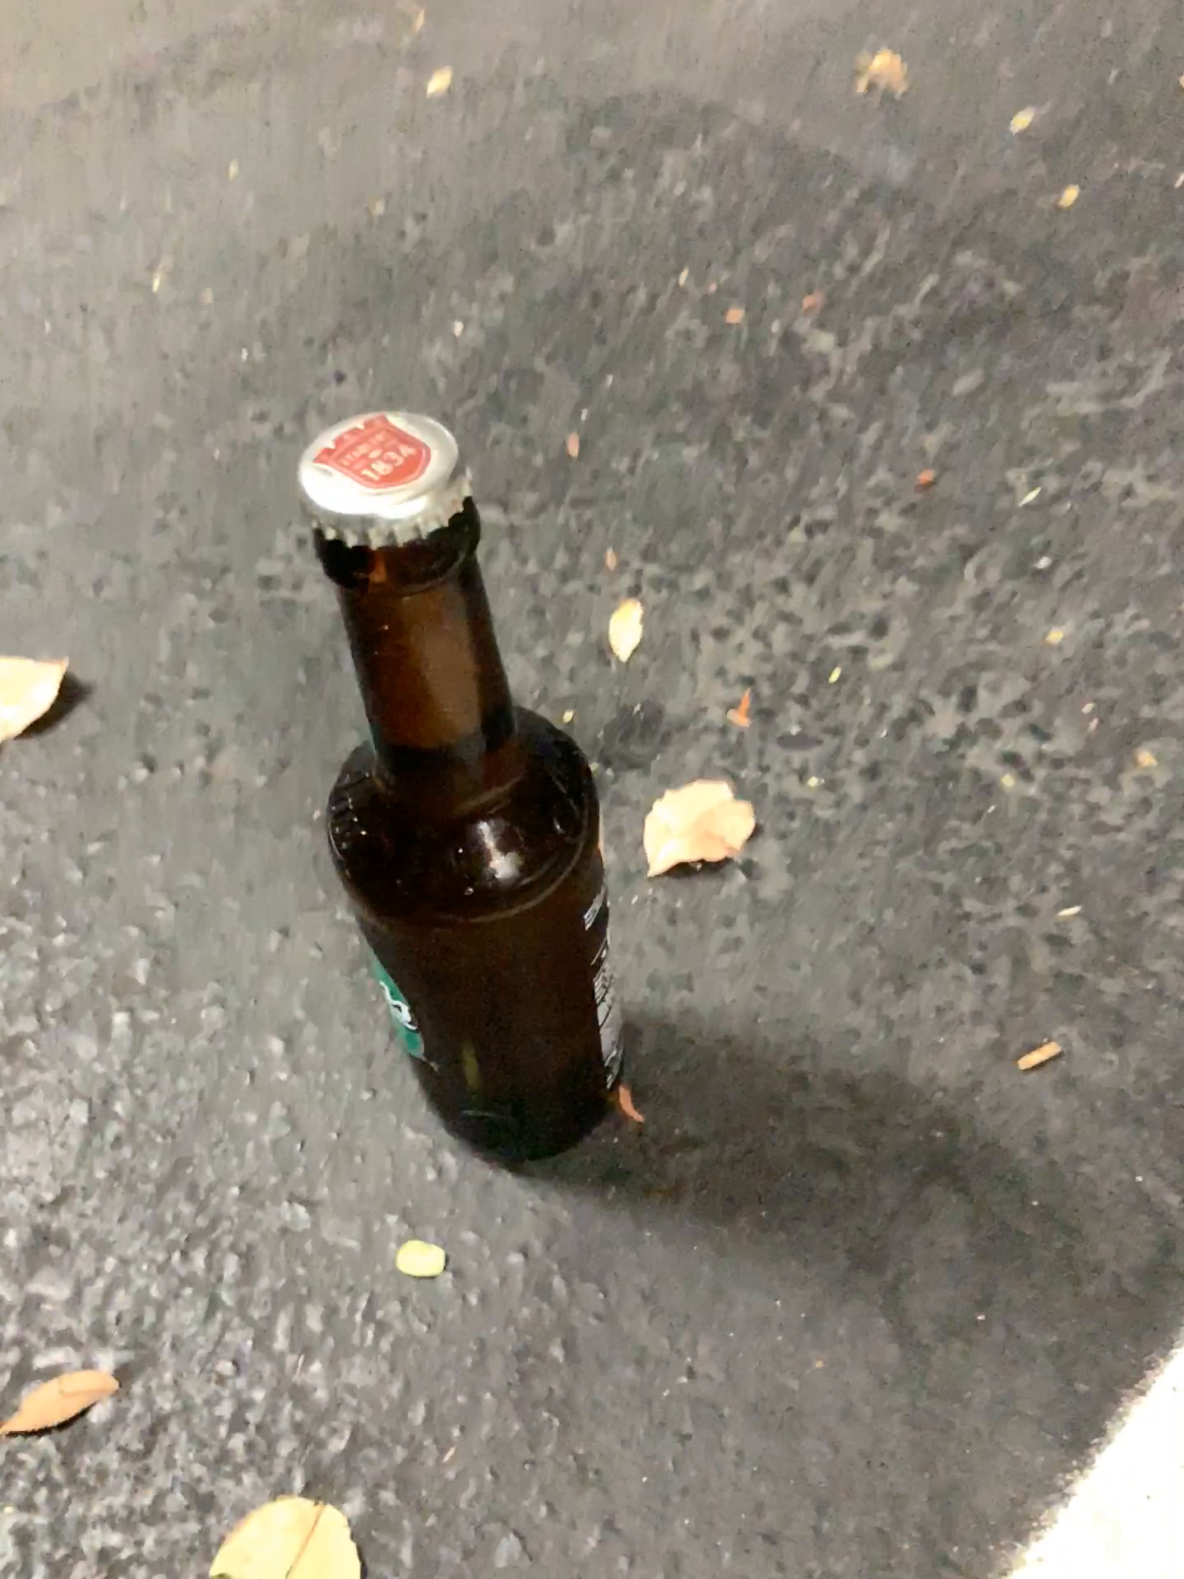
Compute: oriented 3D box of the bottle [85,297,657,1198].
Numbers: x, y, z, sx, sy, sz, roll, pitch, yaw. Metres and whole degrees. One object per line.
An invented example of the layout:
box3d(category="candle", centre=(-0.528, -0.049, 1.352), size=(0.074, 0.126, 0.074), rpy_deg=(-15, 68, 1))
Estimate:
box3d(category="bottle", centre=(-0.034, 0.012, 0.290), size=(0.070, 0.210, 0.070), rpy_deg=(-3, 54, 4))
